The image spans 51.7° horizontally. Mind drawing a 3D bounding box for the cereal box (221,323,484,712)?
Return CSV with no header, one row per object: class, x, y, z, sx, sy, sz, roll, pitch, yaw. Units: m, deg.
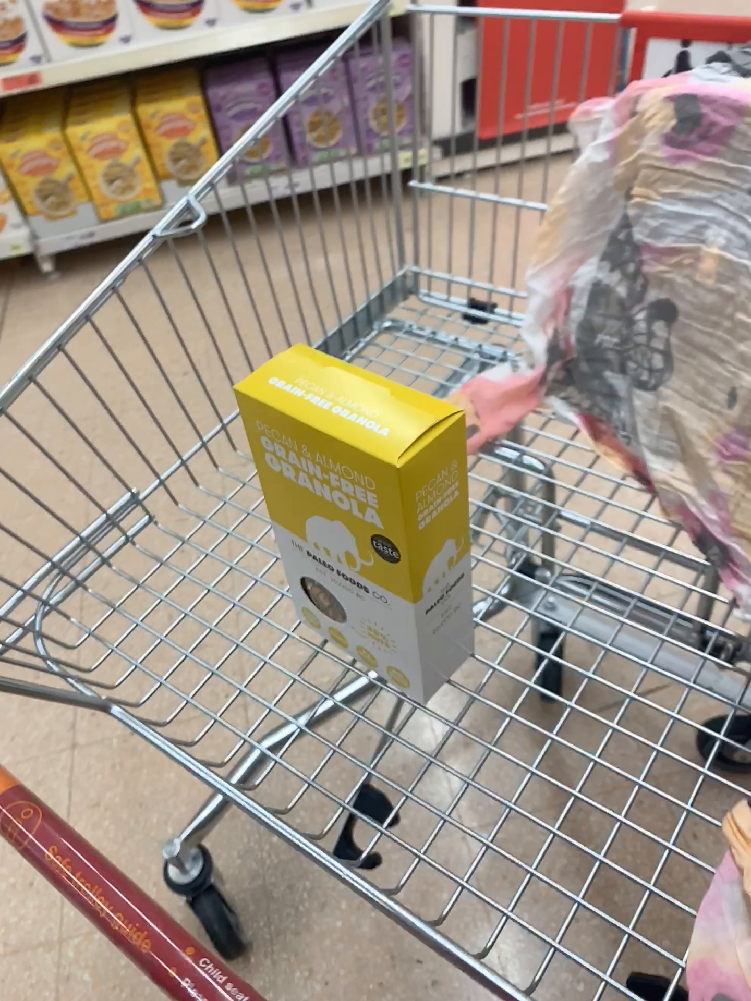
cereal box,-0.006,0.016,0.472,0.131,0.208,0.060,28,53,31
